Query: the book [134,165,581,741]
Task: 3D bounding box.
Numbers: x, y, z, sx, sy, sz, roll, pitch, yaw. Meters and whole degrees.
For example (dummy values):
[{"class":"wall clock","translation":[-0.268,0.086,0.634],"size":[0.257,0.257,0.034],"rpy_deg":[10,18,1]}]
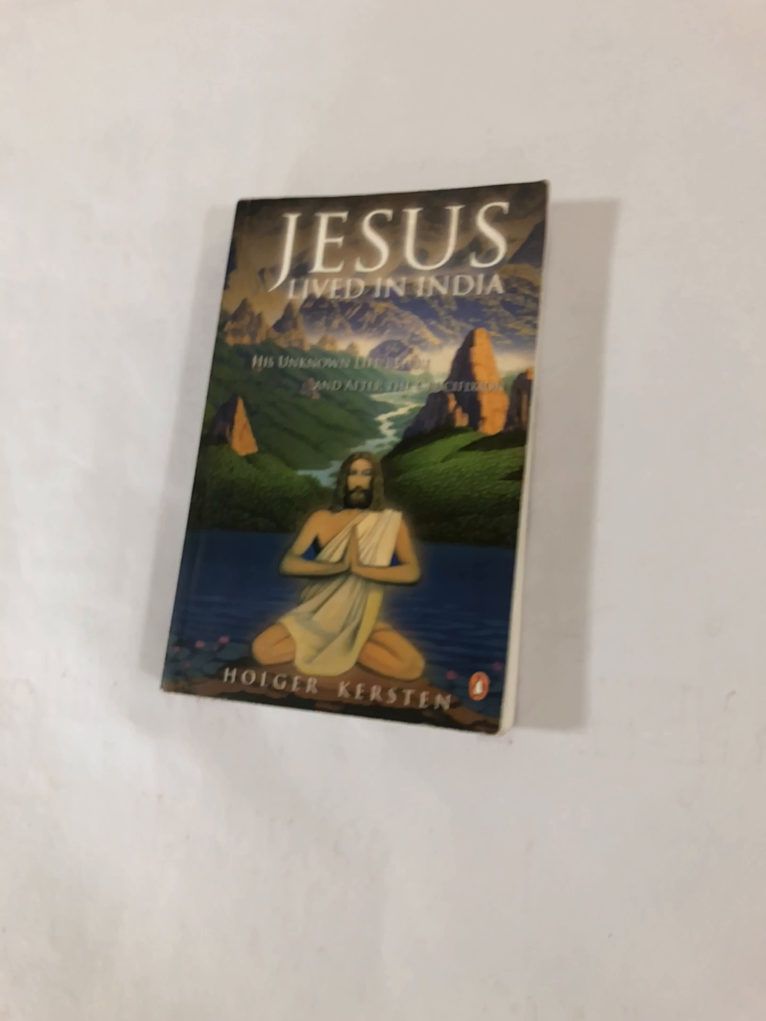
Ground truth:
[{"class":"book","translation":[-0.006,-0.027,0.336],"size":[0.150,0.030,0.210],"rpy_deg":[3,78,17]}]
